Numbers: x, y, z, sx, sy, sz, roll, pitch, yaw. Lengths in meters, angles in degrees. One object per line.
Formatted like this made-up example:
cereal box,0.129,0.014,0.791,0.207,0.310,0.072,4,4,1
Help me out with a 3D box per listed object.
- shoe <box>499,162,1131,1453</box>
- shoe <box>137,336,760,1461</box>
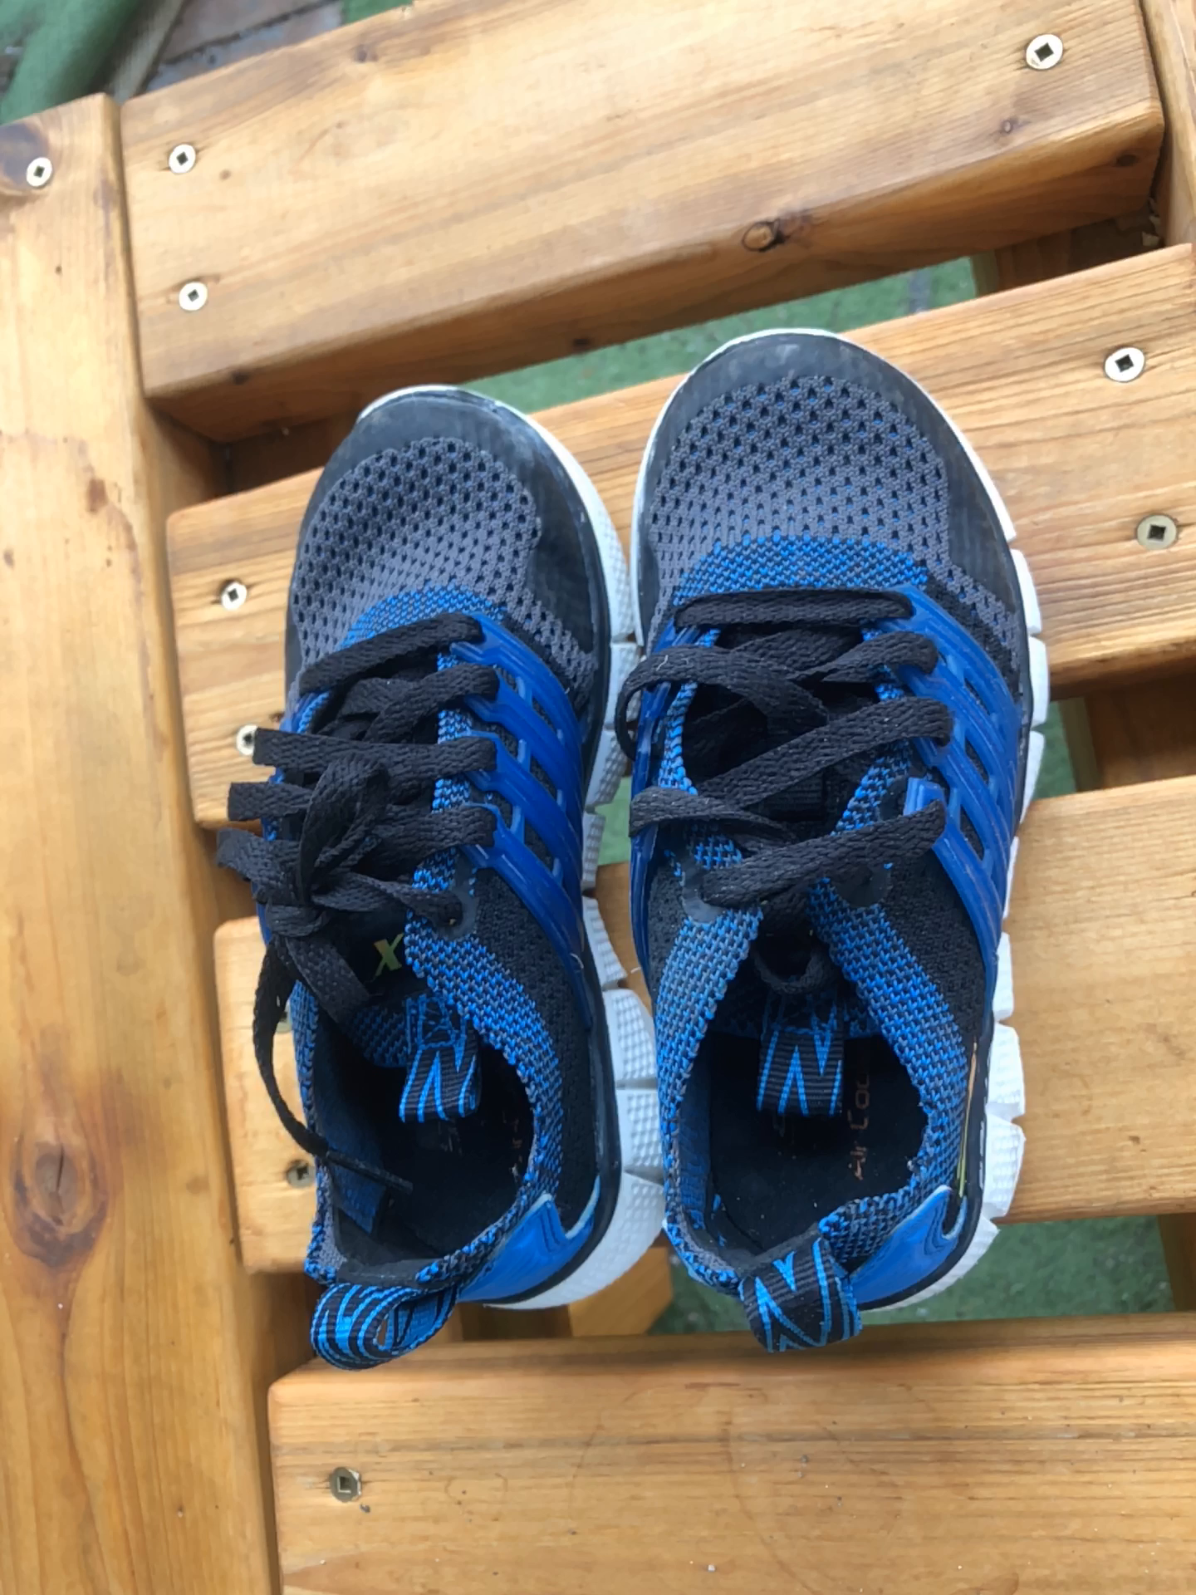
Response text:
shoe,0.043,0.004,0.254,0.080,0.100,0.190,-6,84,16
shoe,-0.028,0.022,0.297,0.080,0.100,0.200,-10,83,16
